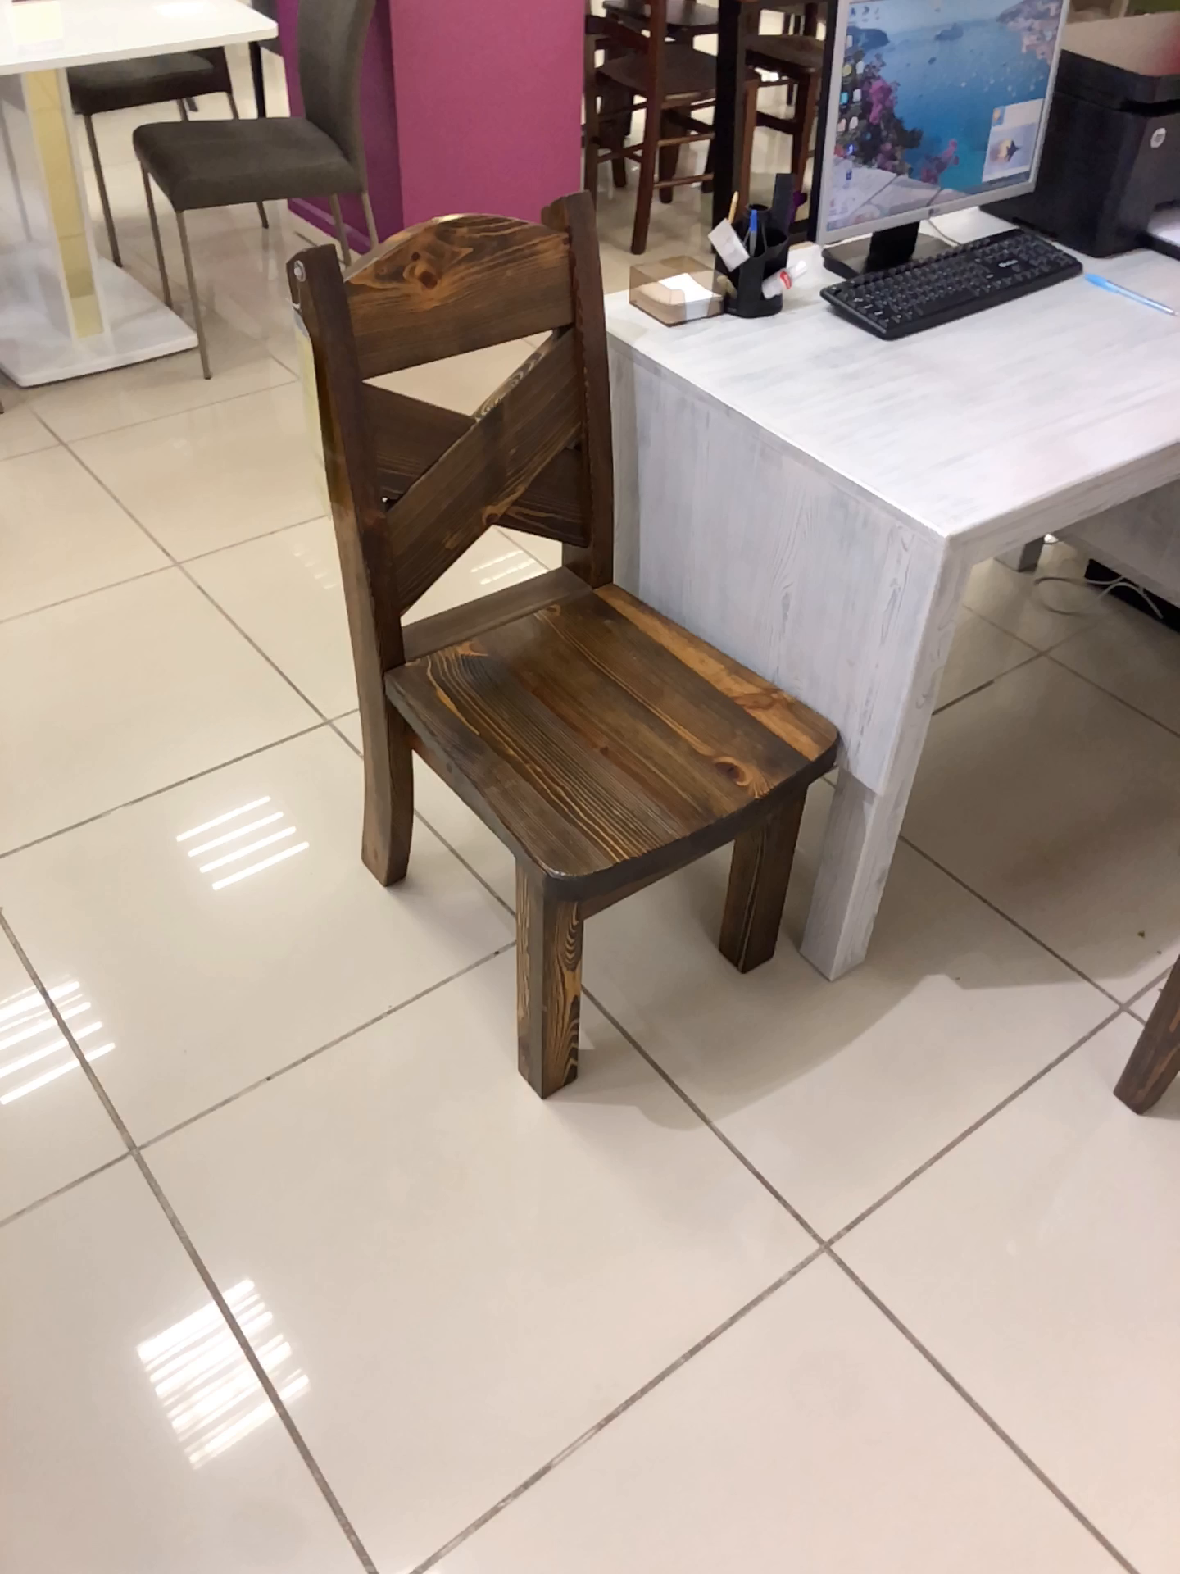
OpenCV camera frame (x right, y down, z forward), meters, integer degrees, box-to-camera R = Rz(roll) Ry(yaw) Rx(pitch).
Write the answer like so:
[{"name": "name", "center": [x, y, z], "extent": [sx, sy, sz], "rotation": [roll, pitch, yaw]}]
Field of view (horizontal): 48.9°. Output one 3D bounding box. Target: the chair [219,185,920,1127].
[{"name": "chair", "center": [-0.051, -0.153, 1.598], "extent": [0.451, 0.895, 0.572], "rotation": [-26, 49, -29]}]
